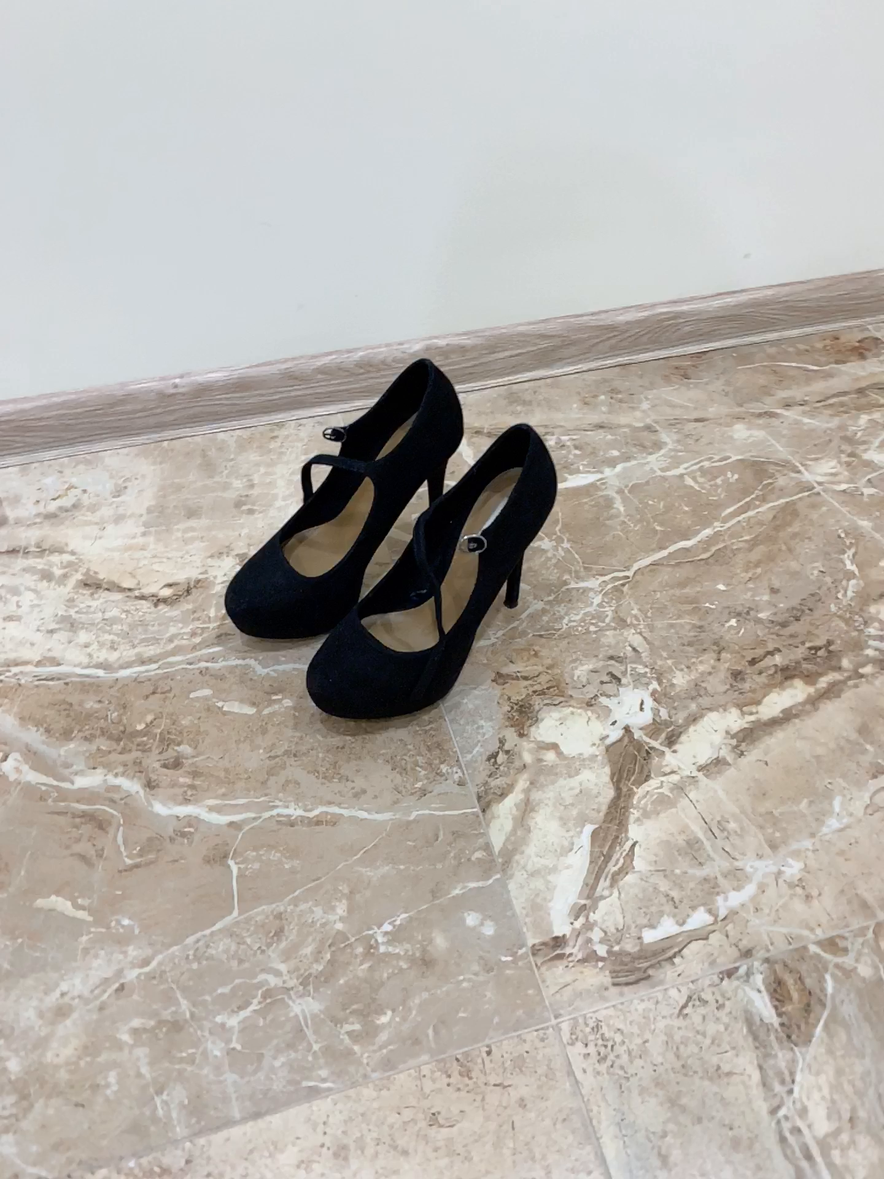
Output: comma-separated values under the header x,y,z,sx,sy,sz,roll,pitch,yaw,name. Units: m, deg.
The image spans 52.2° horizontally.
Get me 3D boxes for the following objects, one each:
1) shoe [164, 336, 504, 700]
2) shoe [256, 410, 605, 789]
x,y,z,sx,sy,sz,roll,pitch,yaw,name
-0.068,-0.054,0.655,0.210,0.169,0.090,-32,55,-27,shoe
-0.003,0.004,0.605,0.210,0.159,0.080,-32,55,-27,shoe
